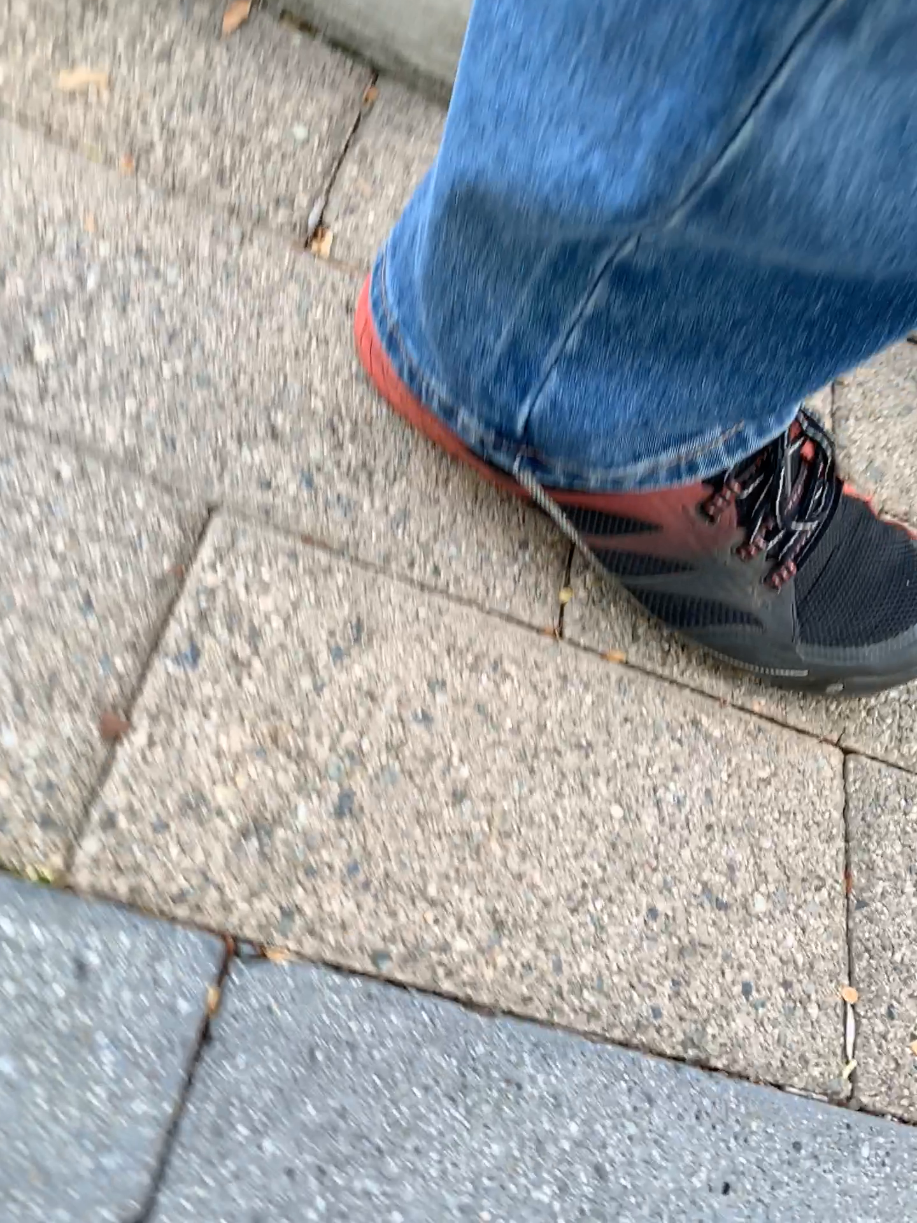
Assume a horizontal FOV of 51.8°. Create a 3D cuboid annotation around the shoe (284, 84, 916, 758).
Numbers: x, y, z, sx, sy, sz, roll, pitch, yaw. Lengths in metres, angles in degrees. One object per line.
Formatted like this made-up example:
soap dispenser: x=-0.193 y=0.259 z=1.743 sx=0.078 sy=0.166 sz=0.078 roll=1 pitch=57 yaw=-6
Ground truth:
shoe: x=0.101 y=-0.073 z=0.400 sx=0.306 sy=0.080 sz=0.137 roll=27 pitch=57 yaw=-9
